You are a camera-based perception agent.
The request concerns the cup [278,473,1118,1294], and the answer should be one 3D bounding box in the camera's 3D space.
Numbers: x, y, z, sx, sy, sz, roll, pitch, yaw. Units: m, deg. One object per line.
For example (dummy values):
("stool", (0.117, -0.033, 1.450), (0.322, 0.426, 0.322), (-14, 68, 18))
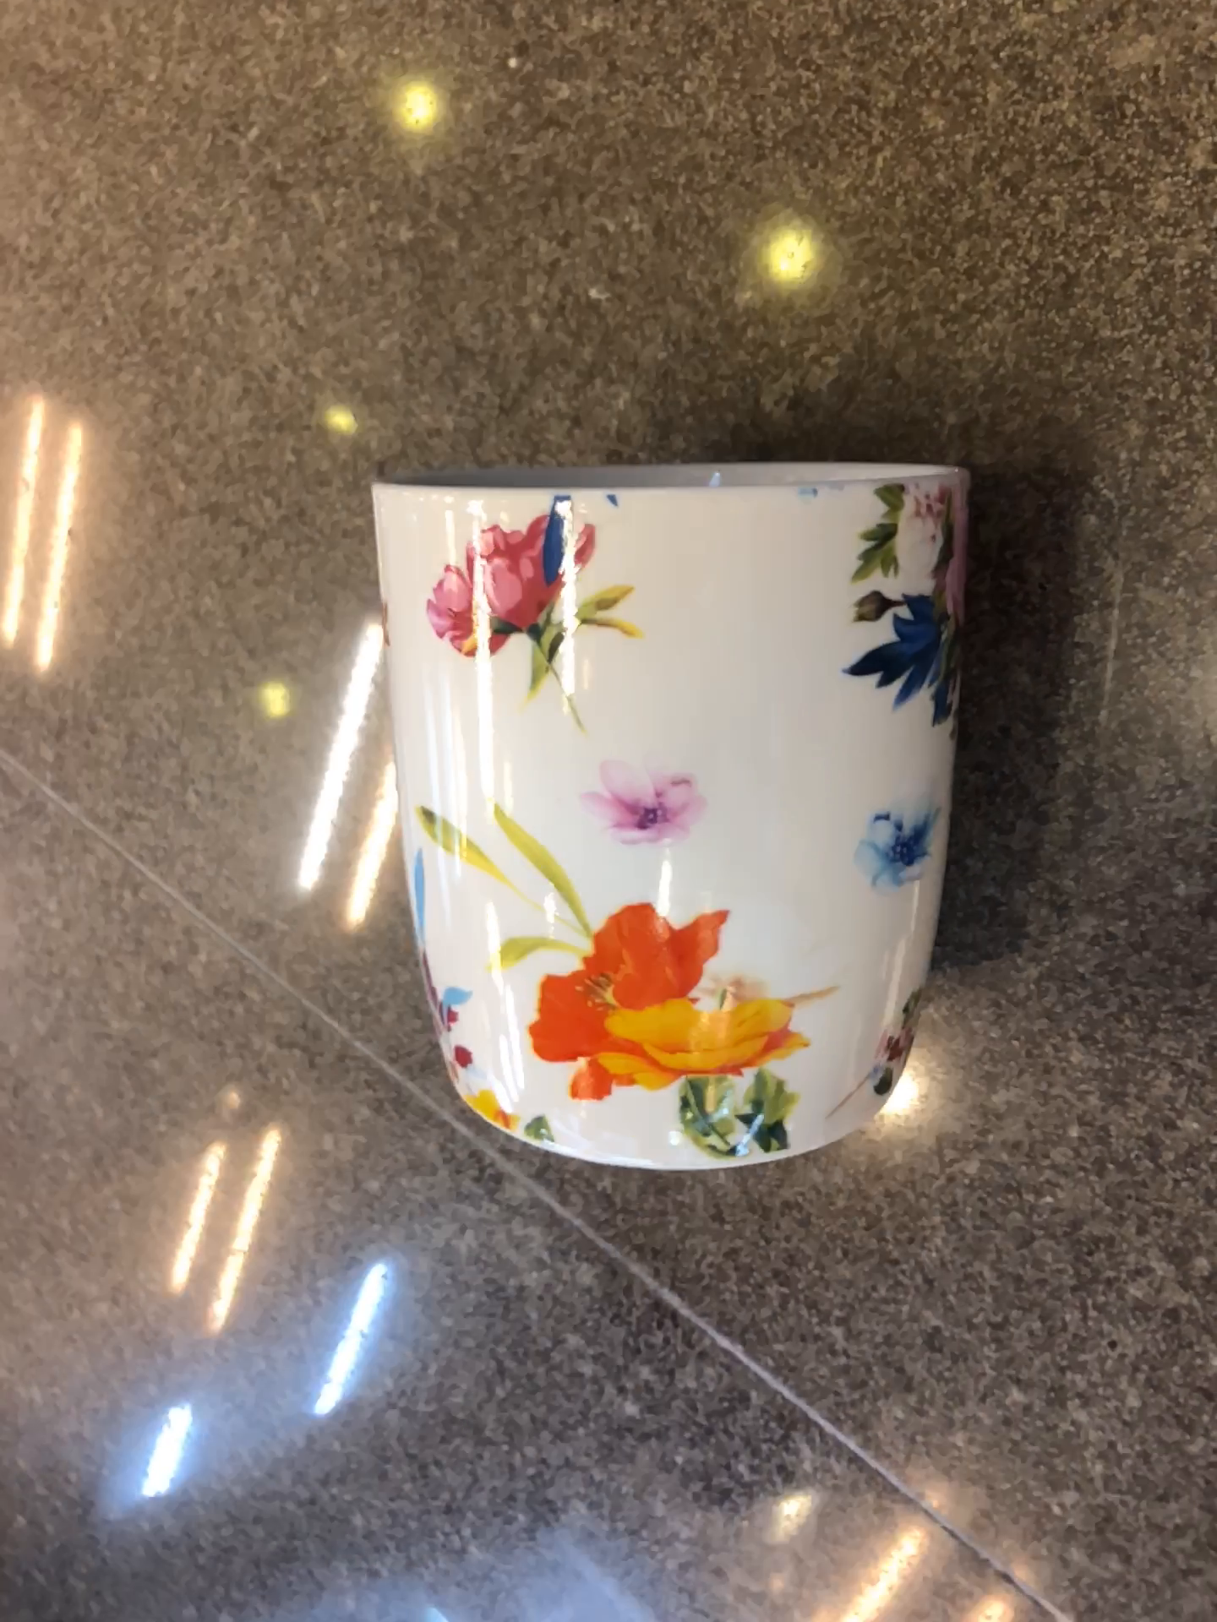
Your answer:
("cup", (0.001, -0.006, 0.213), (0.120, 0.080, 0.090), (-149, 56, -64))
